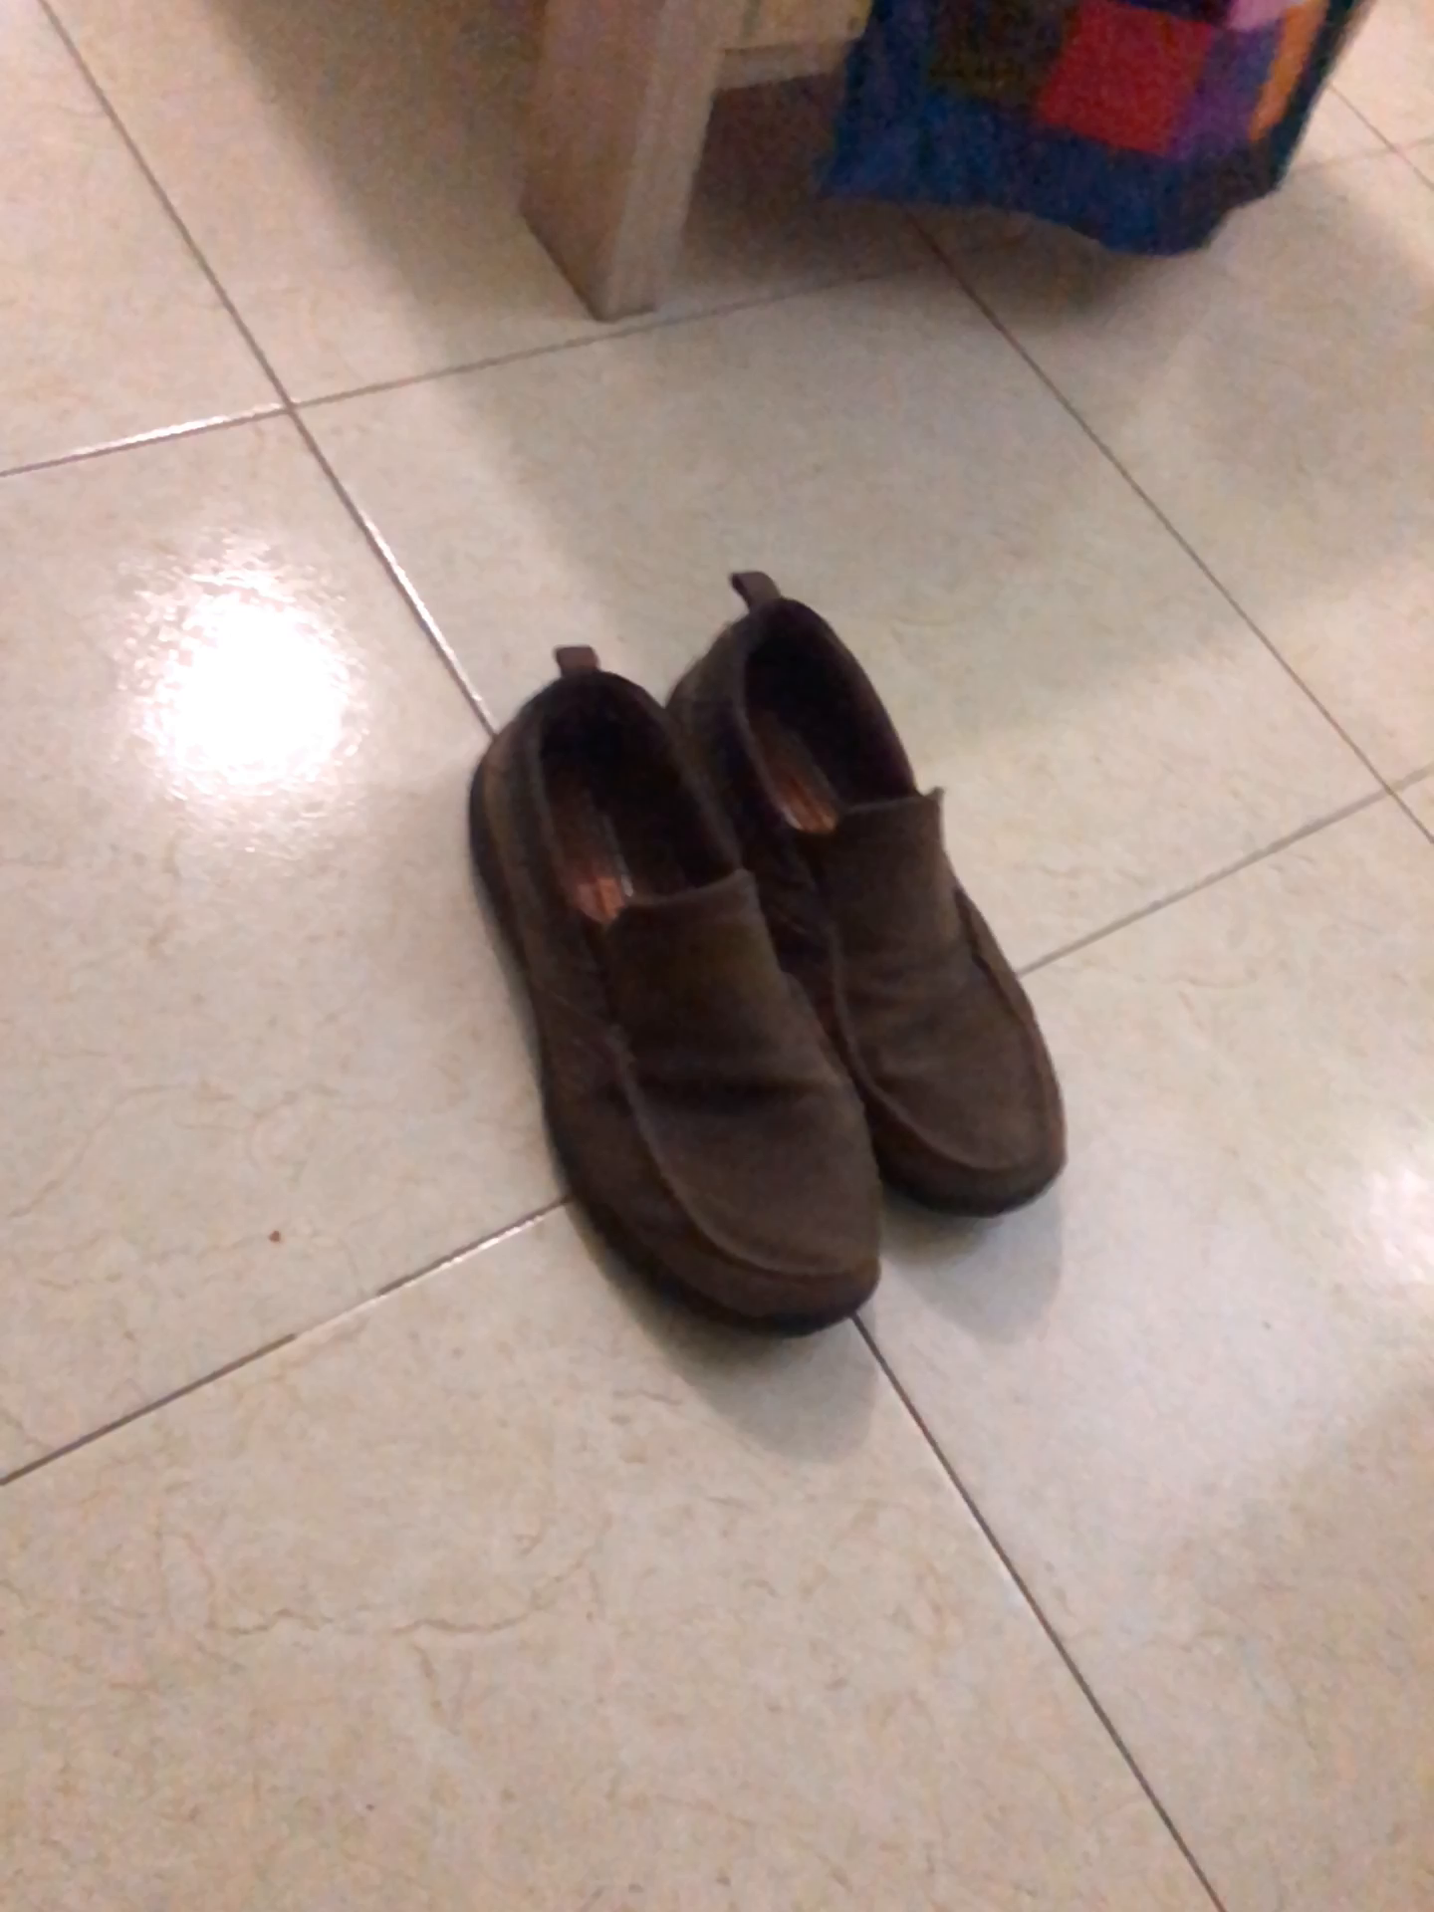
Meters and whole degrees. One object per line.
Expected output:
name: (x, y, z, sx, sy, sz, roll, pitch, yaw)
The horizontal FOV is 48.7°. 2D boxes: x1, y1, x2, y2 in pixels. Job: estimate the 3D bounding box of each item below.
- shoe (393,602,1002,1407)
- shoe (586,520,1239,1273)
shoe: (-0.022, 0.011, 0.656, 0.120, 0.100, 0.300, -17, 67, -23)
shoe: (0.072, -0.035, 0.698, 0.130, 0.100, 0.300, -20, 68, -24)
